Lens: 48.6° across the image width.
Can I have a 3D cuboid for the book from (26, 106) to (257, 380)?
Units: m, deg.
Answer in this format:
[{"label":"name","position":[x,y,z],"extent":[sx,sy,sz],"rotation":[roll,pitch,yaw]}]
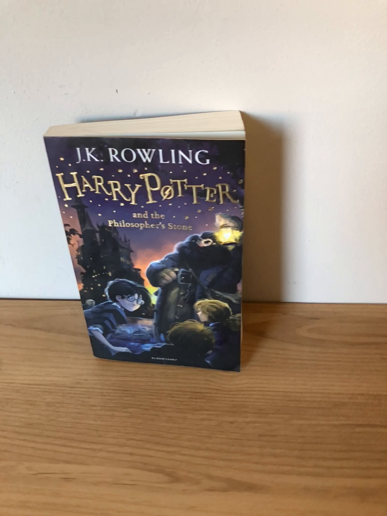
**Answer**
[{"label":"book","position":[-0.026,-0.007,0.326],"extent":[0.135,0.192,0.068],"rotation":[4,32,8]}]
